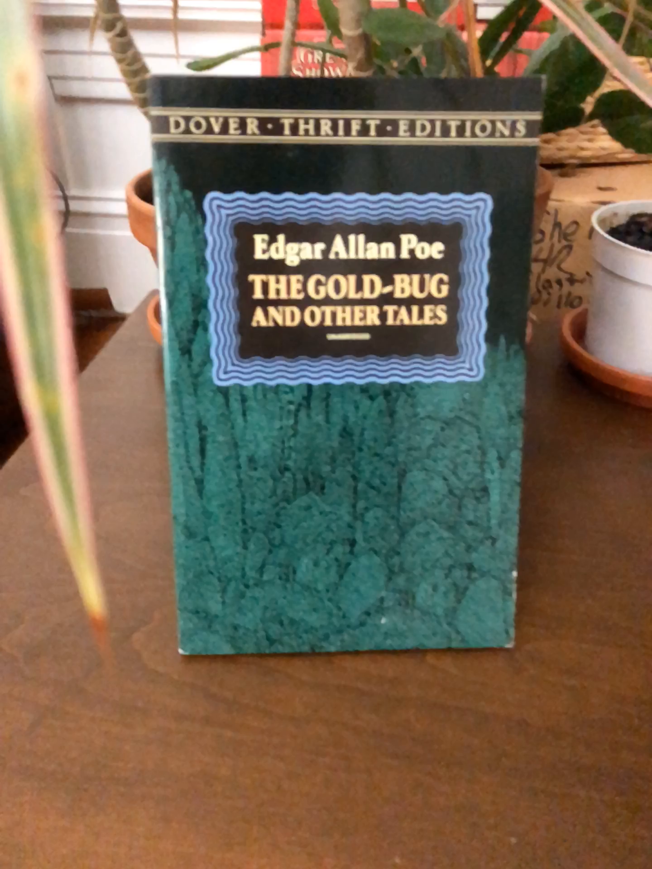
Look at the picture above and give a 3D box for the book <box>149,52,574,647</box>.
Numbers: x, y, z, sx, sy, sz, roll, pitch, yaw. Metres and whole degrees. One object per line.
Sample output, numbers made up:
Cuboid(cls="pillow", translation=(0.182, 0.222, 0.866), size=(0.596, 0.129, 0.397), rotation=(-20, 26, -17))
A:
Cuboid(cls="book", translation=(0.013, -0.025, 0.266), size=(0.140, 0.209, 0.020), rotation=(-1, 12, -3))
